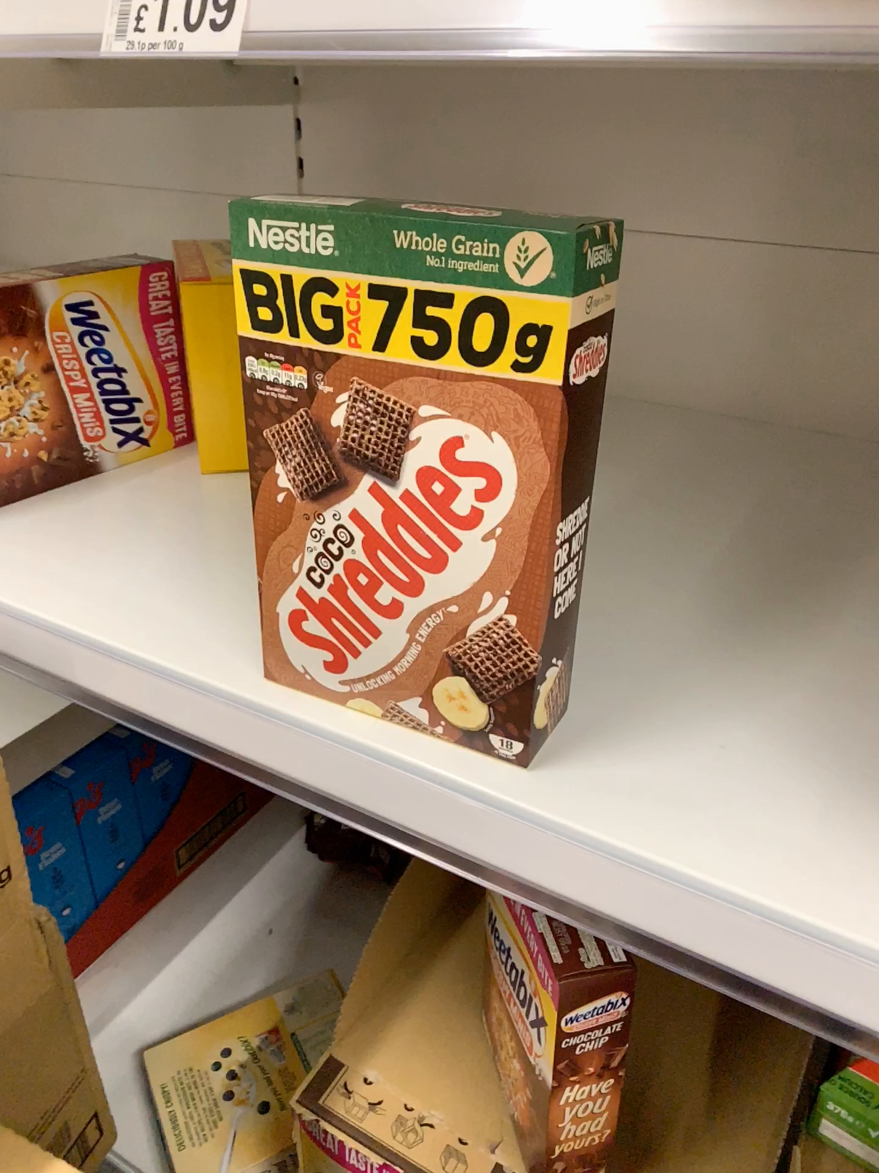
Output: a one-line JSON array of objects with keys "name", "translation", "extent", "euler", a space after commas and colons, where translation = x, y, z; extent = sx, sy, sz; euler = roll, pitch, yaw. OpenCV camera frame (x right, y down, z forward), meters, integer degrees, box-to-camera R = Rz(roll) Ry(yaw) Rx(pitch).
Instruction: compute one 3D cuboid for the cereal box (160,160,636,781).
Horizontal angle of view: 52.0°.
[{"name": "cereal box", "translation": [-0.024, -0.065, 0.488], "extent": [0.210, 0.287, 0.081], "euler": [15, 32, 24]}]
